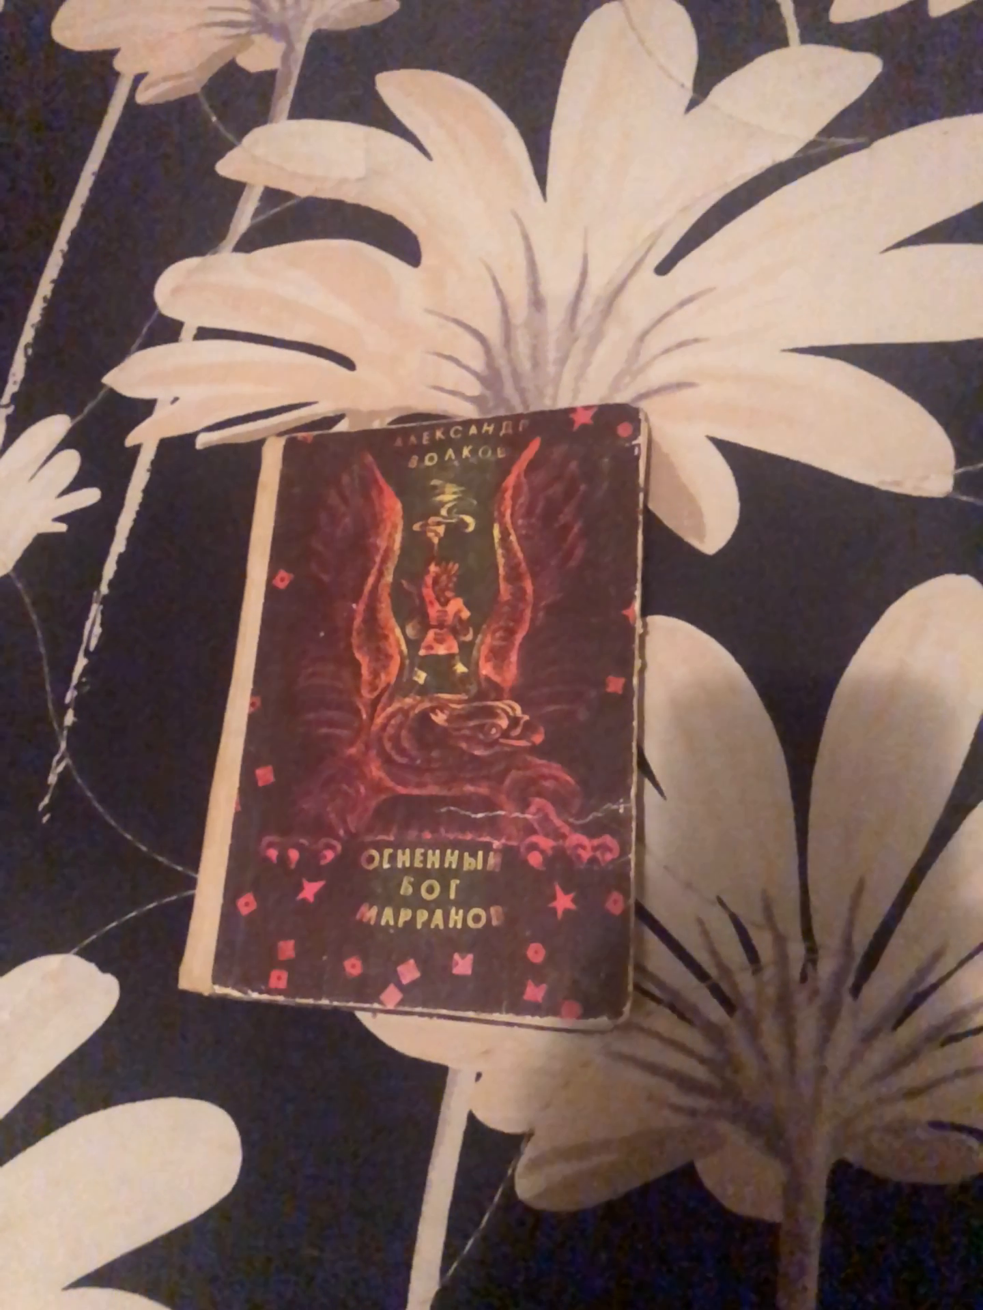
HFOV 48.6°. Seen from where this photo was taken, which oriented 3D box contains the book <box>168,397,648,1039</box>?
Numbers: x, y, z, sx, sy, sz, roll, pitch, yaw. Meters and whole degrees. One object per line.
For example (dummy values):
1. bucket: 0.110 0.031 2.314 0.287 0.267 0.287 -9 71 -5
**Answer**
1. book: -0.025 0.015 0.380 0.152 0.019 0.211 -1 74 16
